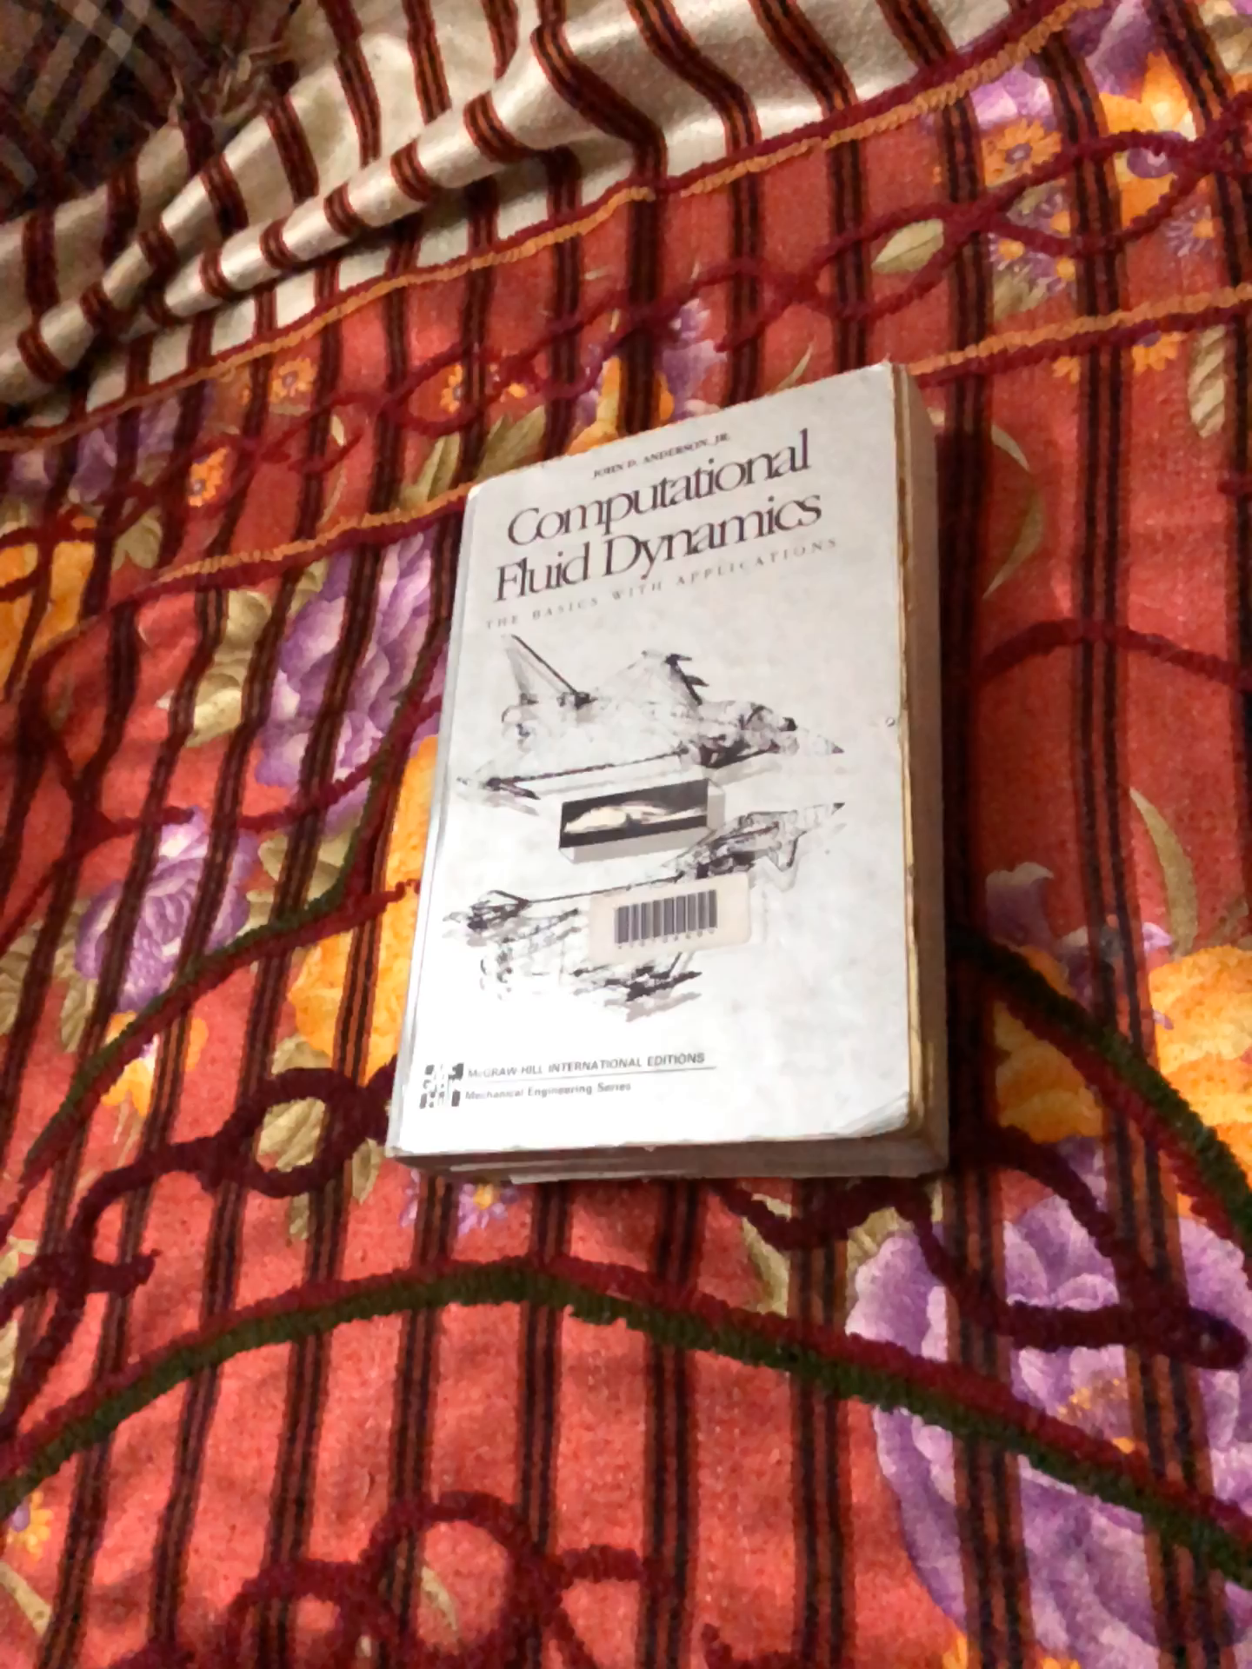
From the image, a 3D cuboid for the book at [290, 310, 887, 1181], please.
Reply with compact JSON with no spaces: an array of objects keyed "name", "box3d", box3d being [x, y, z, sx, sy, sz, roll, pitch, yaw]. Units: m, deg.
[{"name":"book","box3d":[-0.007,-0.024,0.439,0.160,0.060,0.250,-9,65,27]}]
